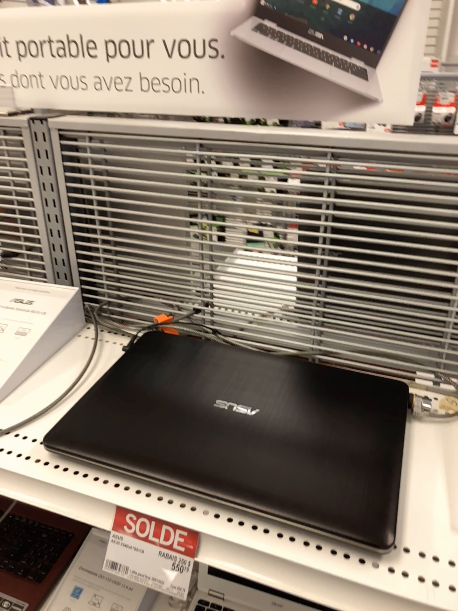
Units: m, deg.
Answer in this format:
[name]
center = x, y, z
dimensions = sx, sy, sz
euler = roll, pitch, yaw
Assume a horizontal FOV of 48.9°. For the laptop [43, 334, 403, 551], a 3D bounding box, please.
[laptop]
center = 0.009, 0.135, 0.609
dimensions = 0.368, 0.013, 0.235
euler = 11, 32, 16
